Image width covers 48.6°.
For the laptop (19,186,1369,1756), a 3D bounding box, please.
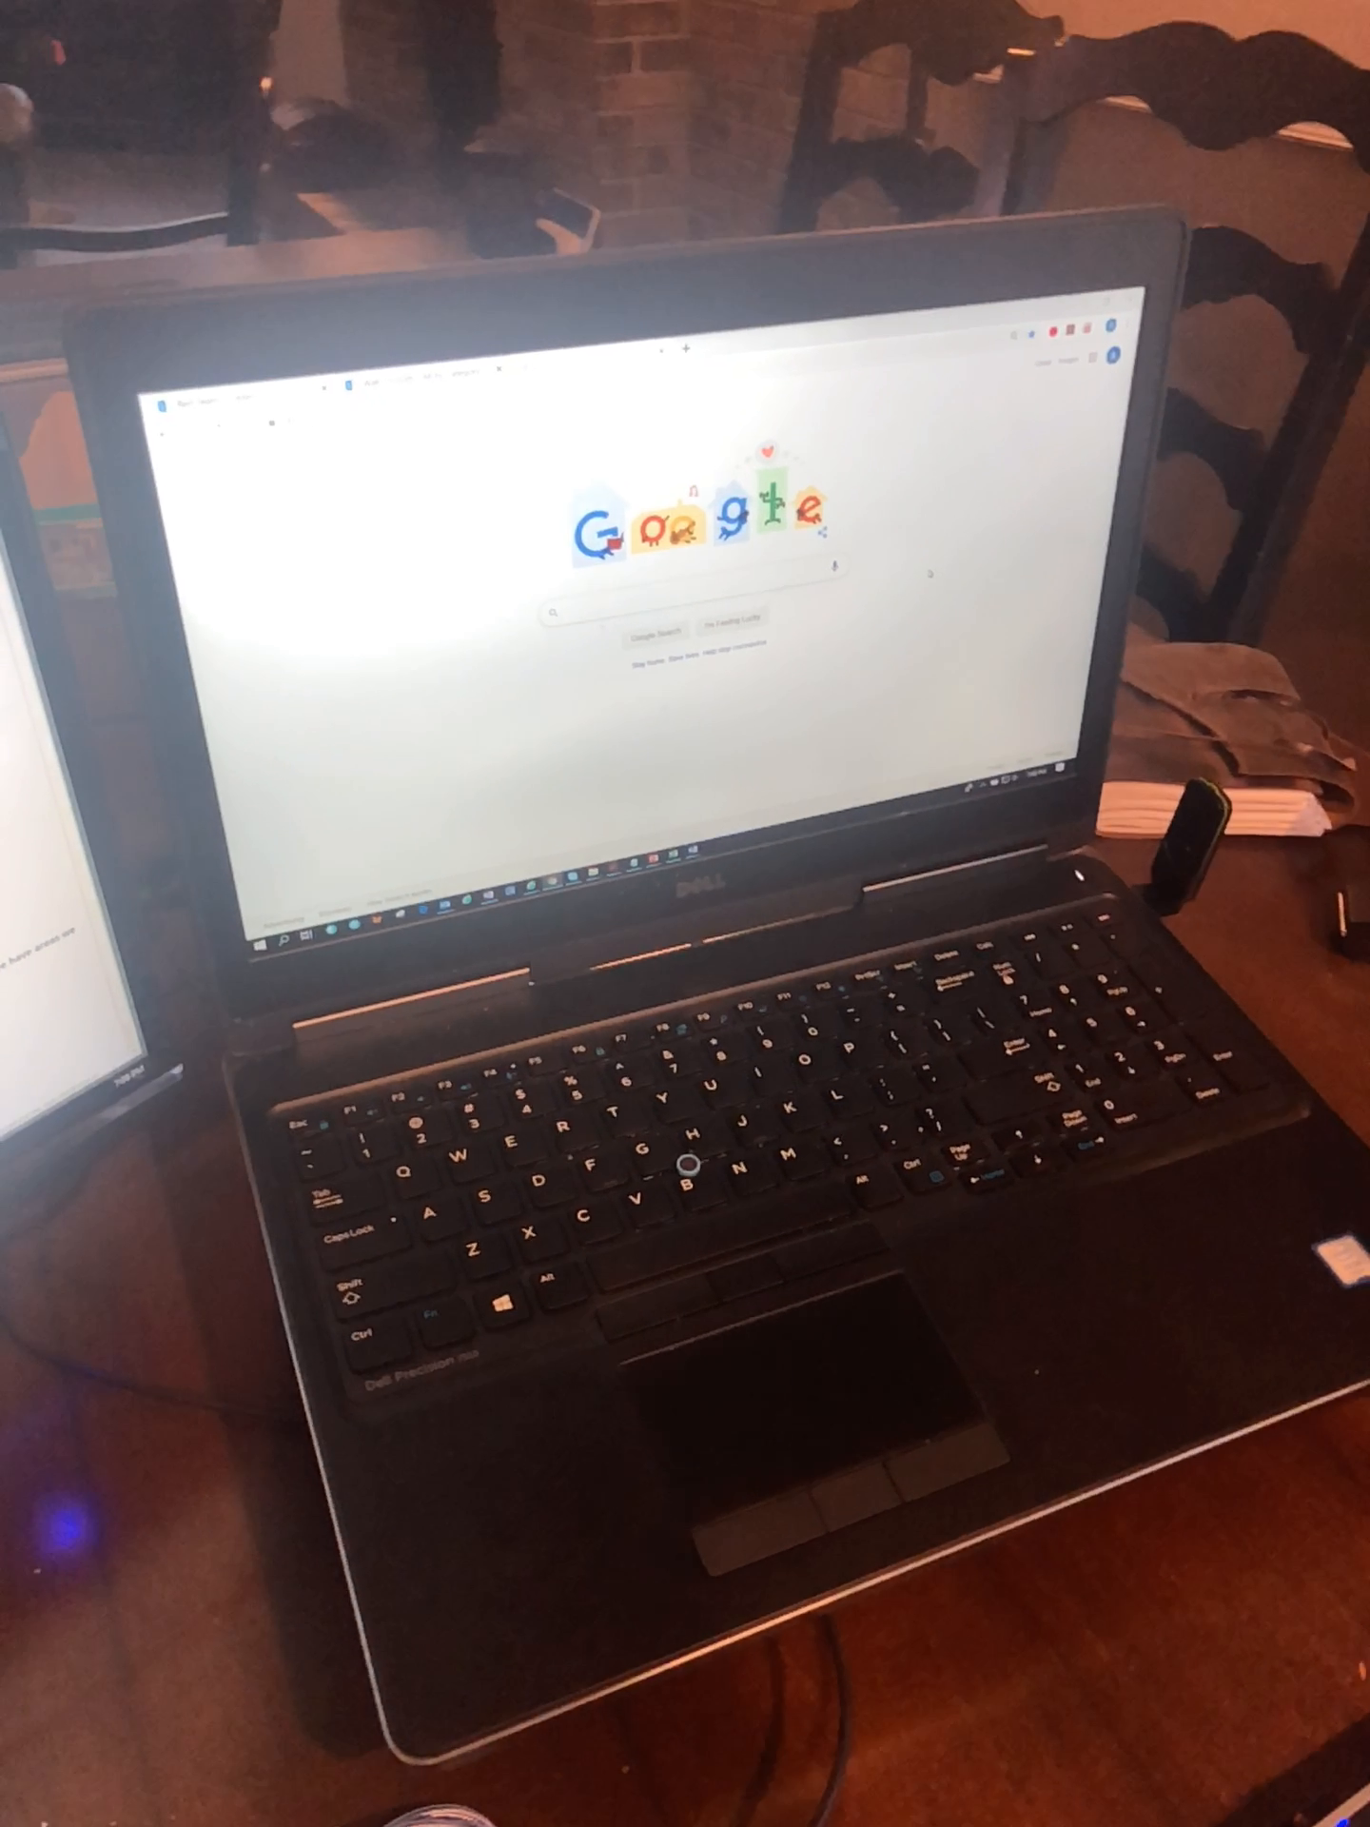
[{"bbox_3d":[0.038,-0.027,0.456,0.367,0.258,0.287,-13,40,-19],"label":"laptop"}]
